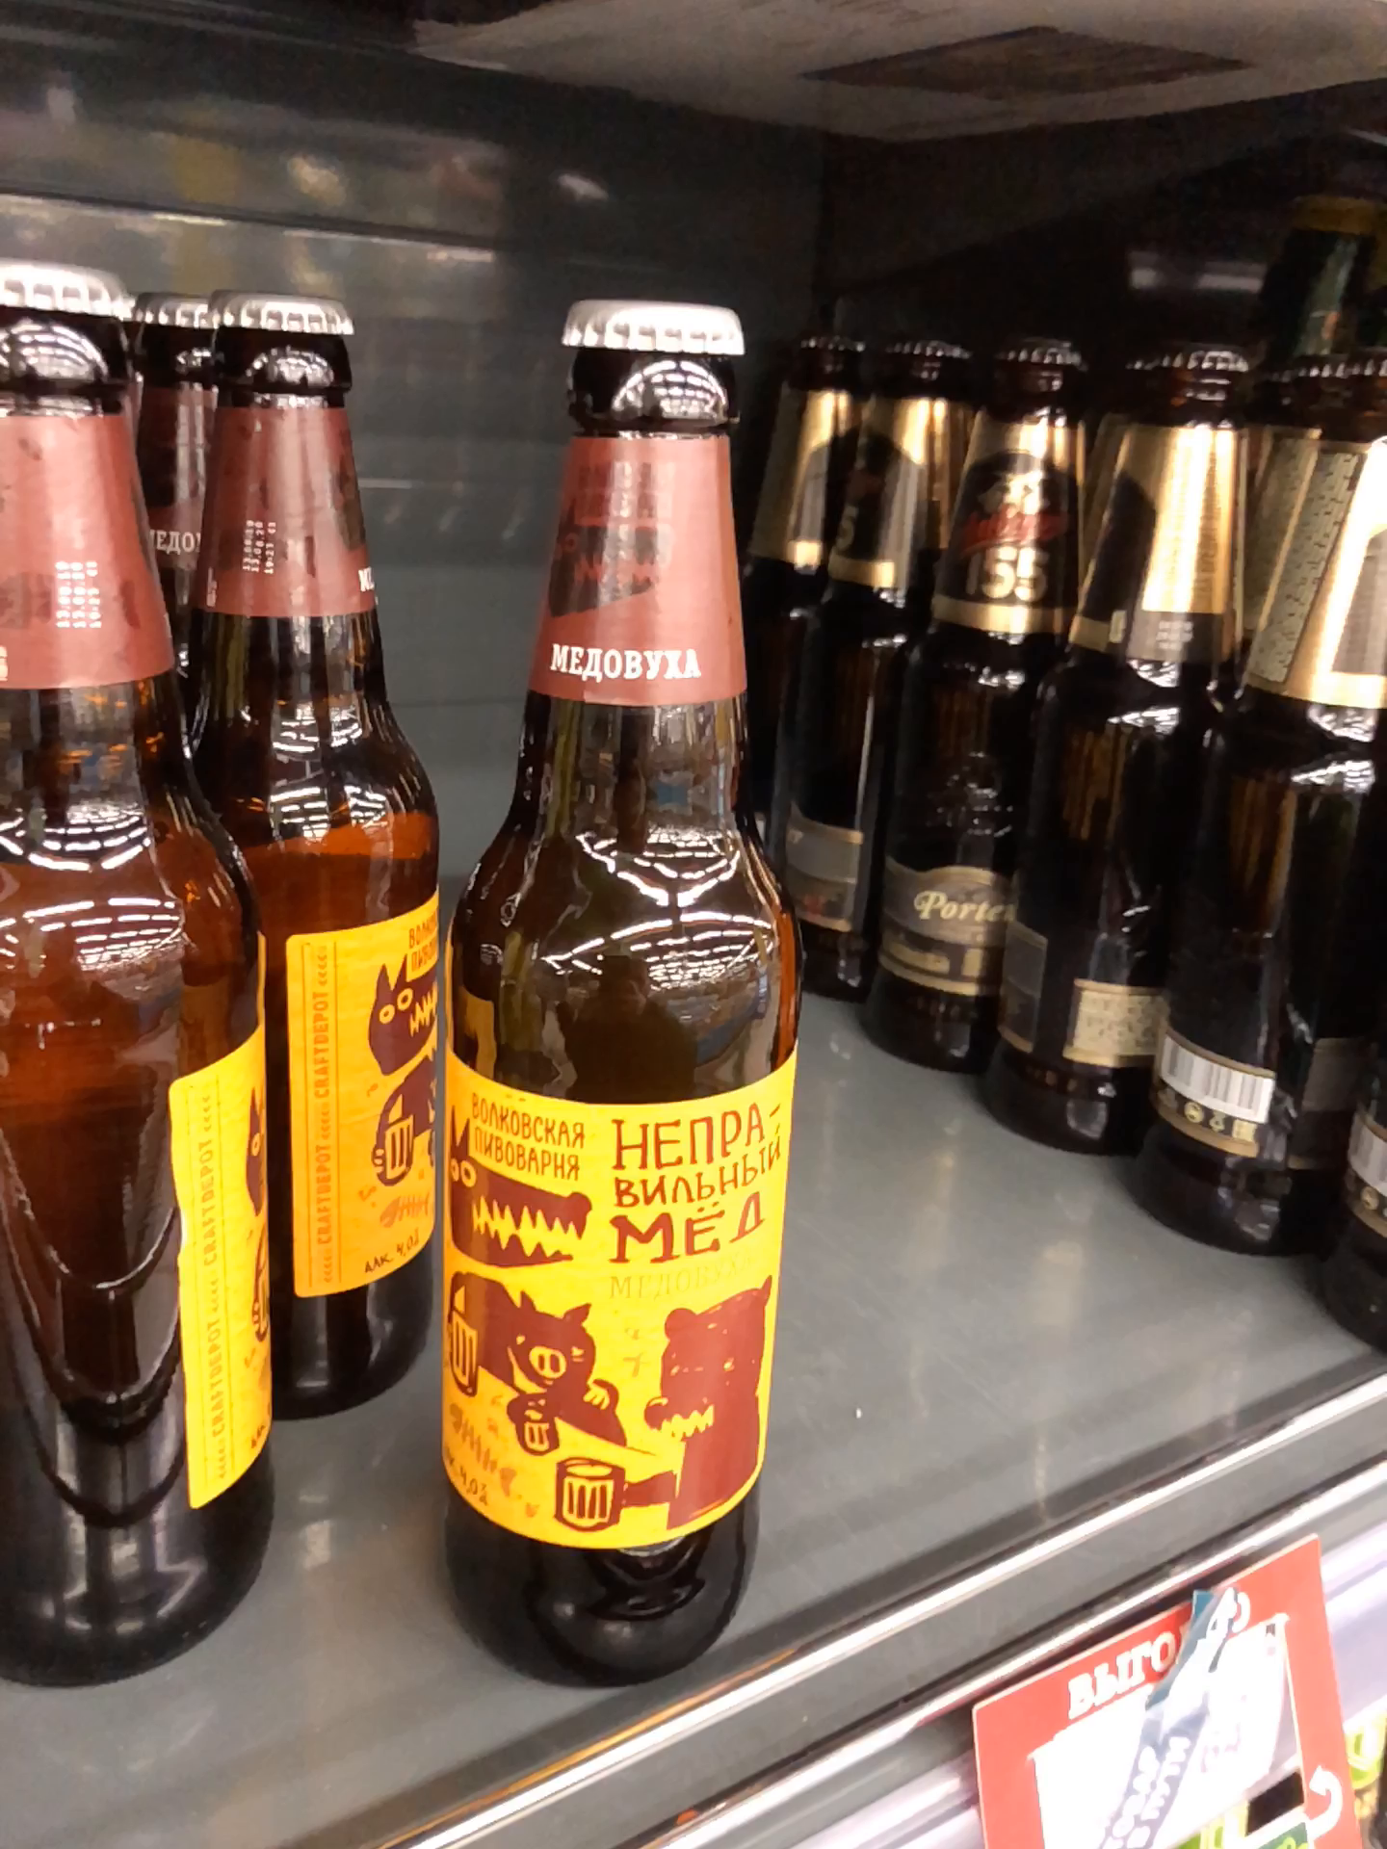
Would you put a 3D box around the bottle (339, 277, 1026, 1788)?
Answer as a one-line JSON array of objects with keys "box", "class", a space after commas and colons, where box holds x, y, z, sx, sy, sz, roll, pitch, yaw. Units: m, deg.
[{"box": [-0.011, 0.019, 0.276, 0.080, 0.243, 0.070, -9, 24, -34], "class": "bottle"}]
